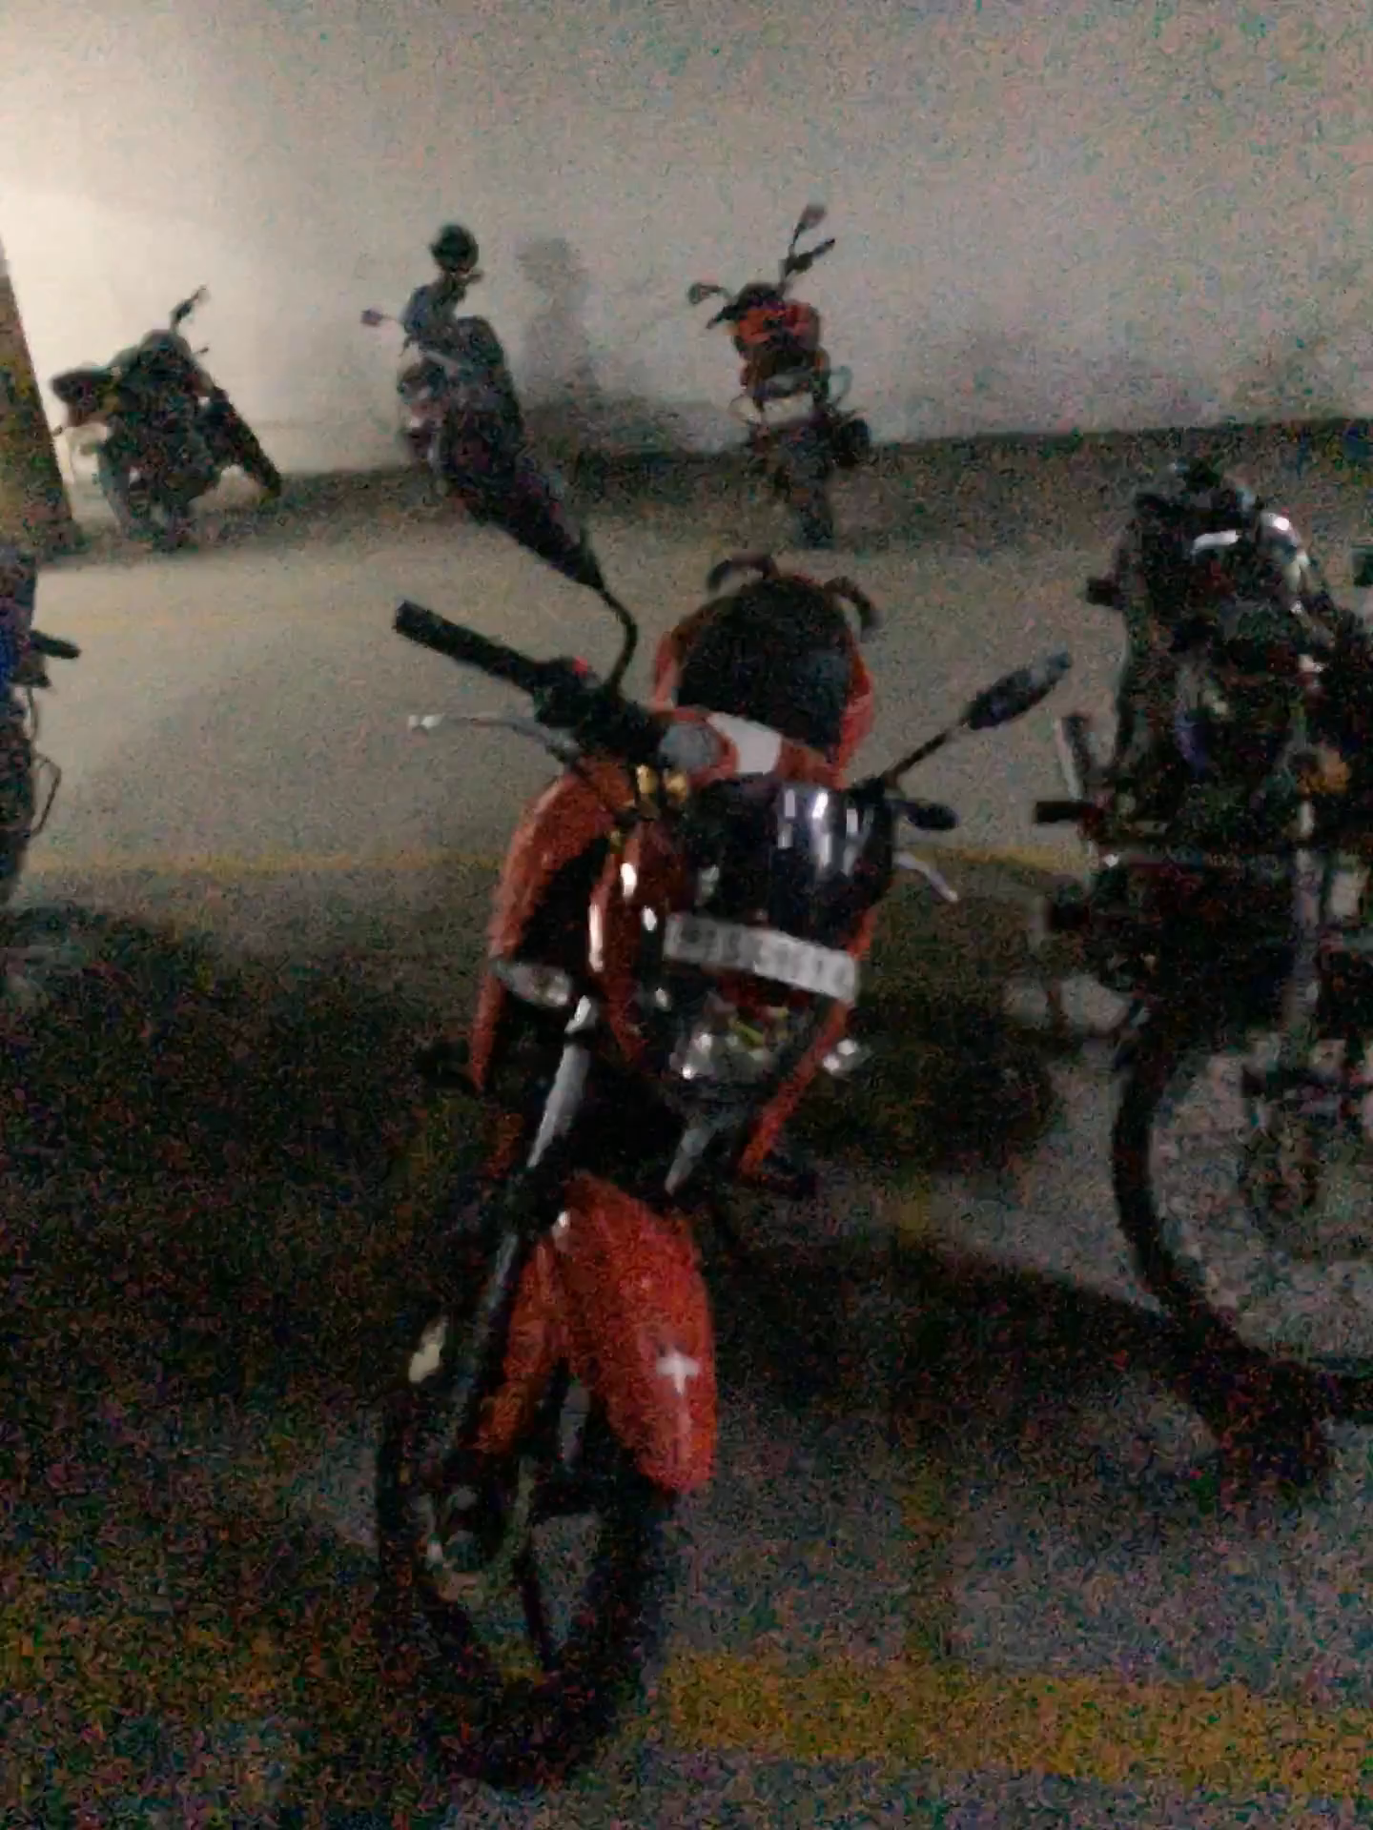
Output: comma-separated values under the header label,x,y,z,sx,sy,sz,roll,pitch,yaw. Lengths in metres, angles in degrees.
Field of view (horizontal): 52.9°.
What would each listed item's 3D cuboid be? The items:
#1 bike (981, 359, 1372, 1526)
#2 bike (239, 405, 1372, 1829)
label,x,y,z,sx,sy,sz,roll,pitch,yaw
bike,0.900,-0.157,1.998,0.673,0.934,1.574,-2,30,4
bike,0.152,0.070,1.844,0.801,1.006,1.702,-2,31,4
